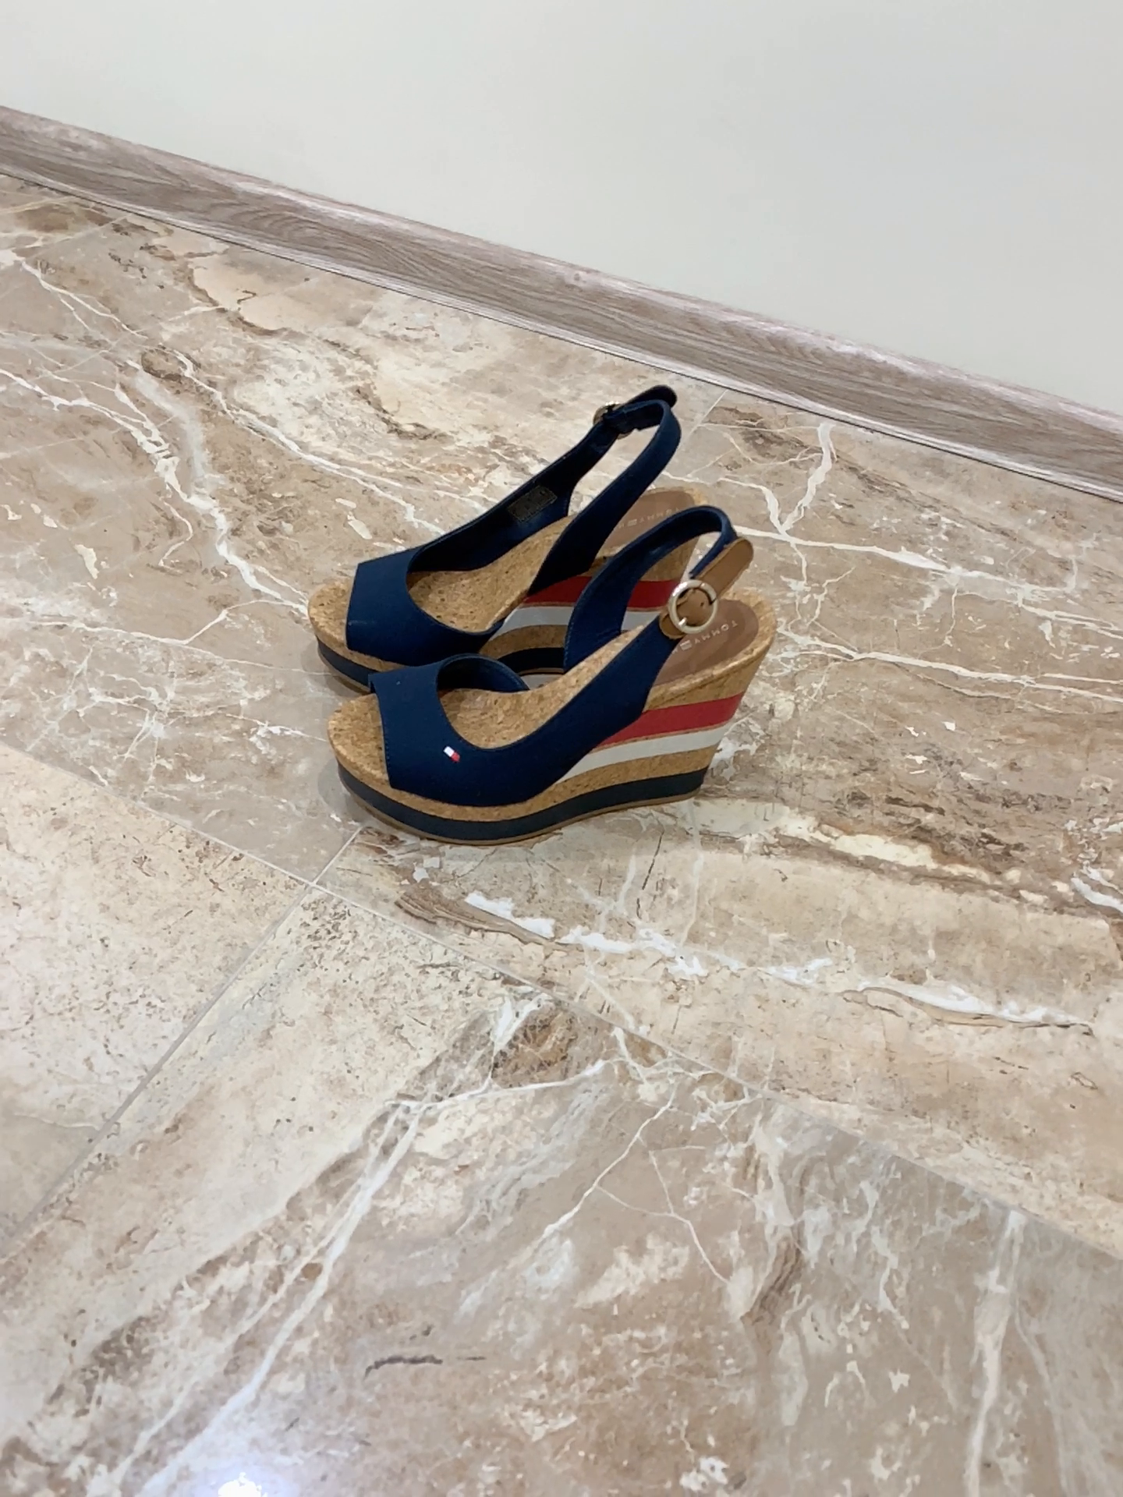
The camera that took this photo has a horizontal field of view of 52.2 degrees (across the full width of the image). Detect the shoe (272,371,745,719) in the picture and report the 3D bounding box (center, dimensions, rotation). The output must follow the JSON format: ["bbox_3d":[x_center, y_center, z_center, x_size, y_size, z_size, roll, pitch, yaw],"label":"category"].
[{"bbox_3d":[-0.032,-0.103,0.588,0.210,0.145,0.090,-2,45,-9],"label":"shoe"}]

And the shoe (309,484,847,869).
[{"bbox_3d":[-0.002,-0.032,0.523,0.210,0.145,0.090,-2,45,-9],"label":"shoe"}]
